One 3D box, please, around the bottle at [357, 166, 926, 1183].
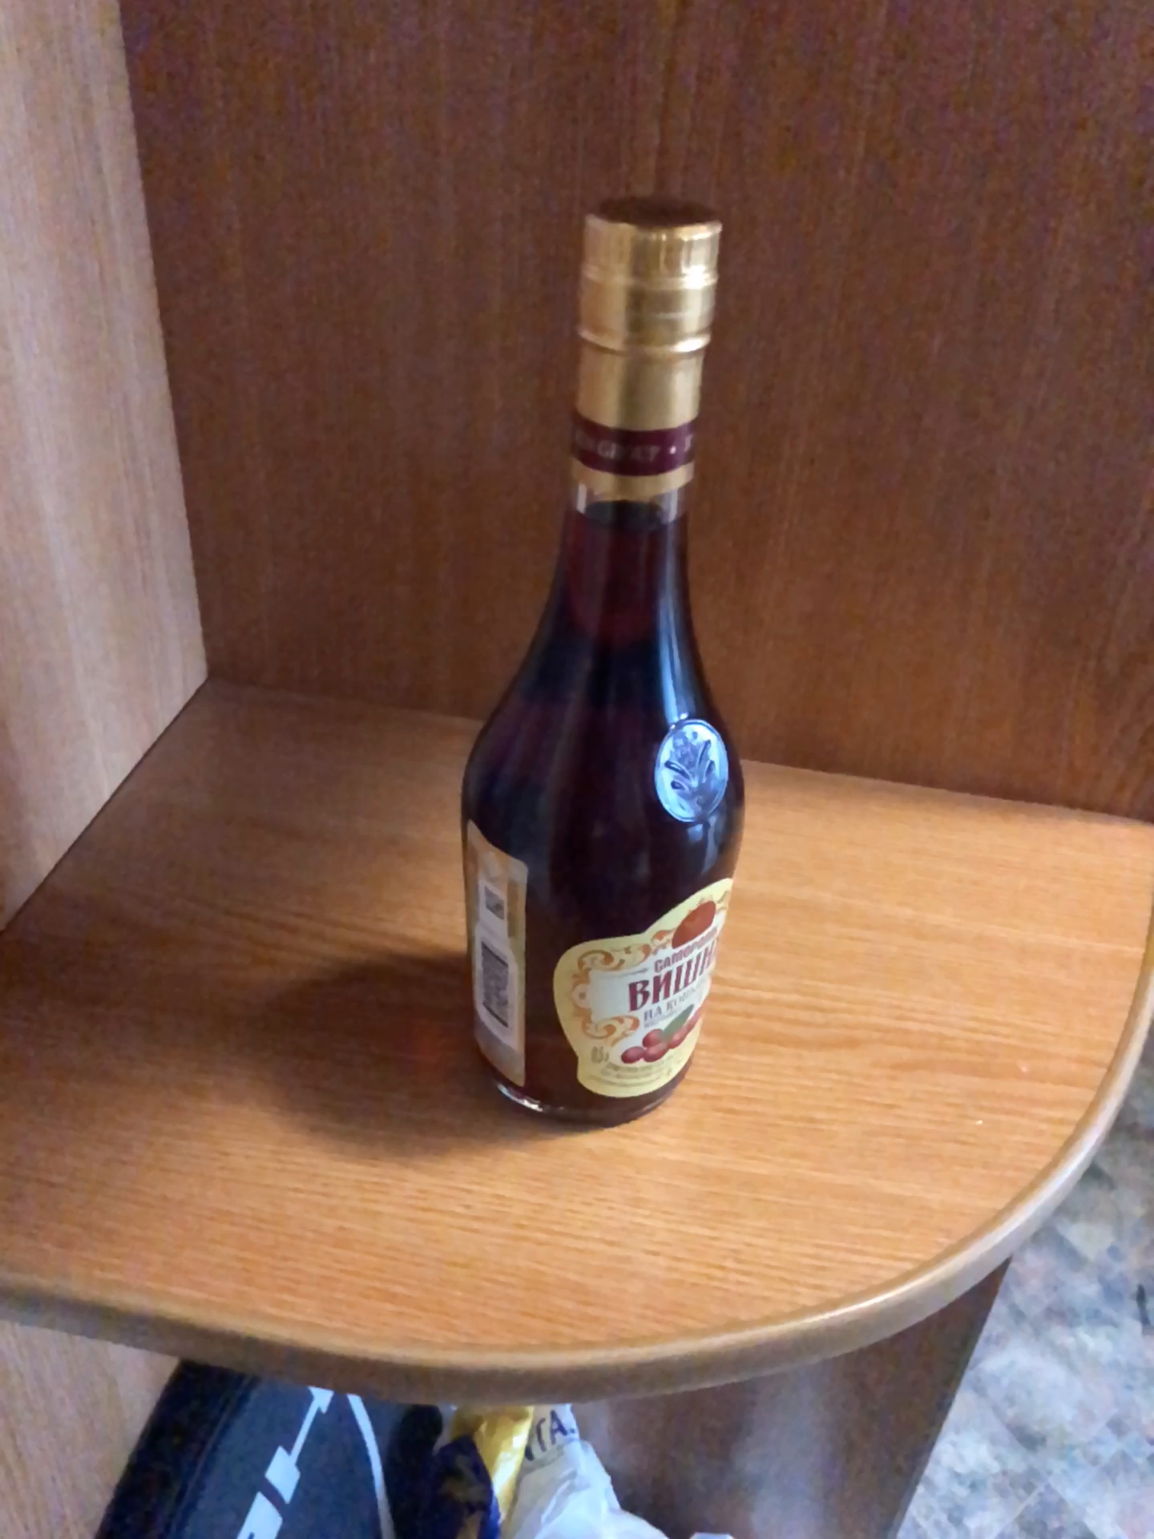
[{"bbox_3d":[0.007,-0.017,0.339,0.090,0.244,0.080,-23,43,-32],"label":"bottle"}]
